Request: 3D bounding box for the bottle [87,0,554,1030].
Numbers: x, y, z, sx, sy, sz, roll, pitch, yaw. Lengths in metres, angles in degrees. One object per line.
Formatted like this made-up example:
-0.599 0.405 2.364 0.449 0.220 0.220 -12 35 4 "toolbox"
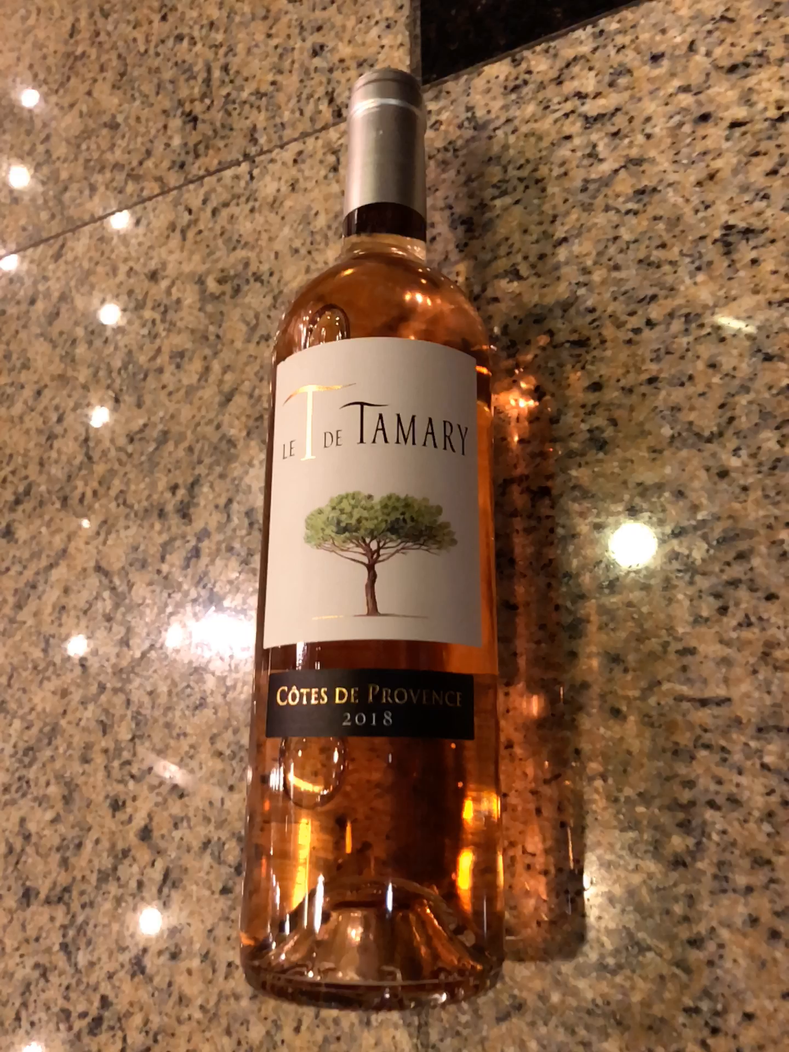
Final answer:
-0.015 -0.041 0.268 0.090 0.080 0.320 -8 72 28 "bottle"
